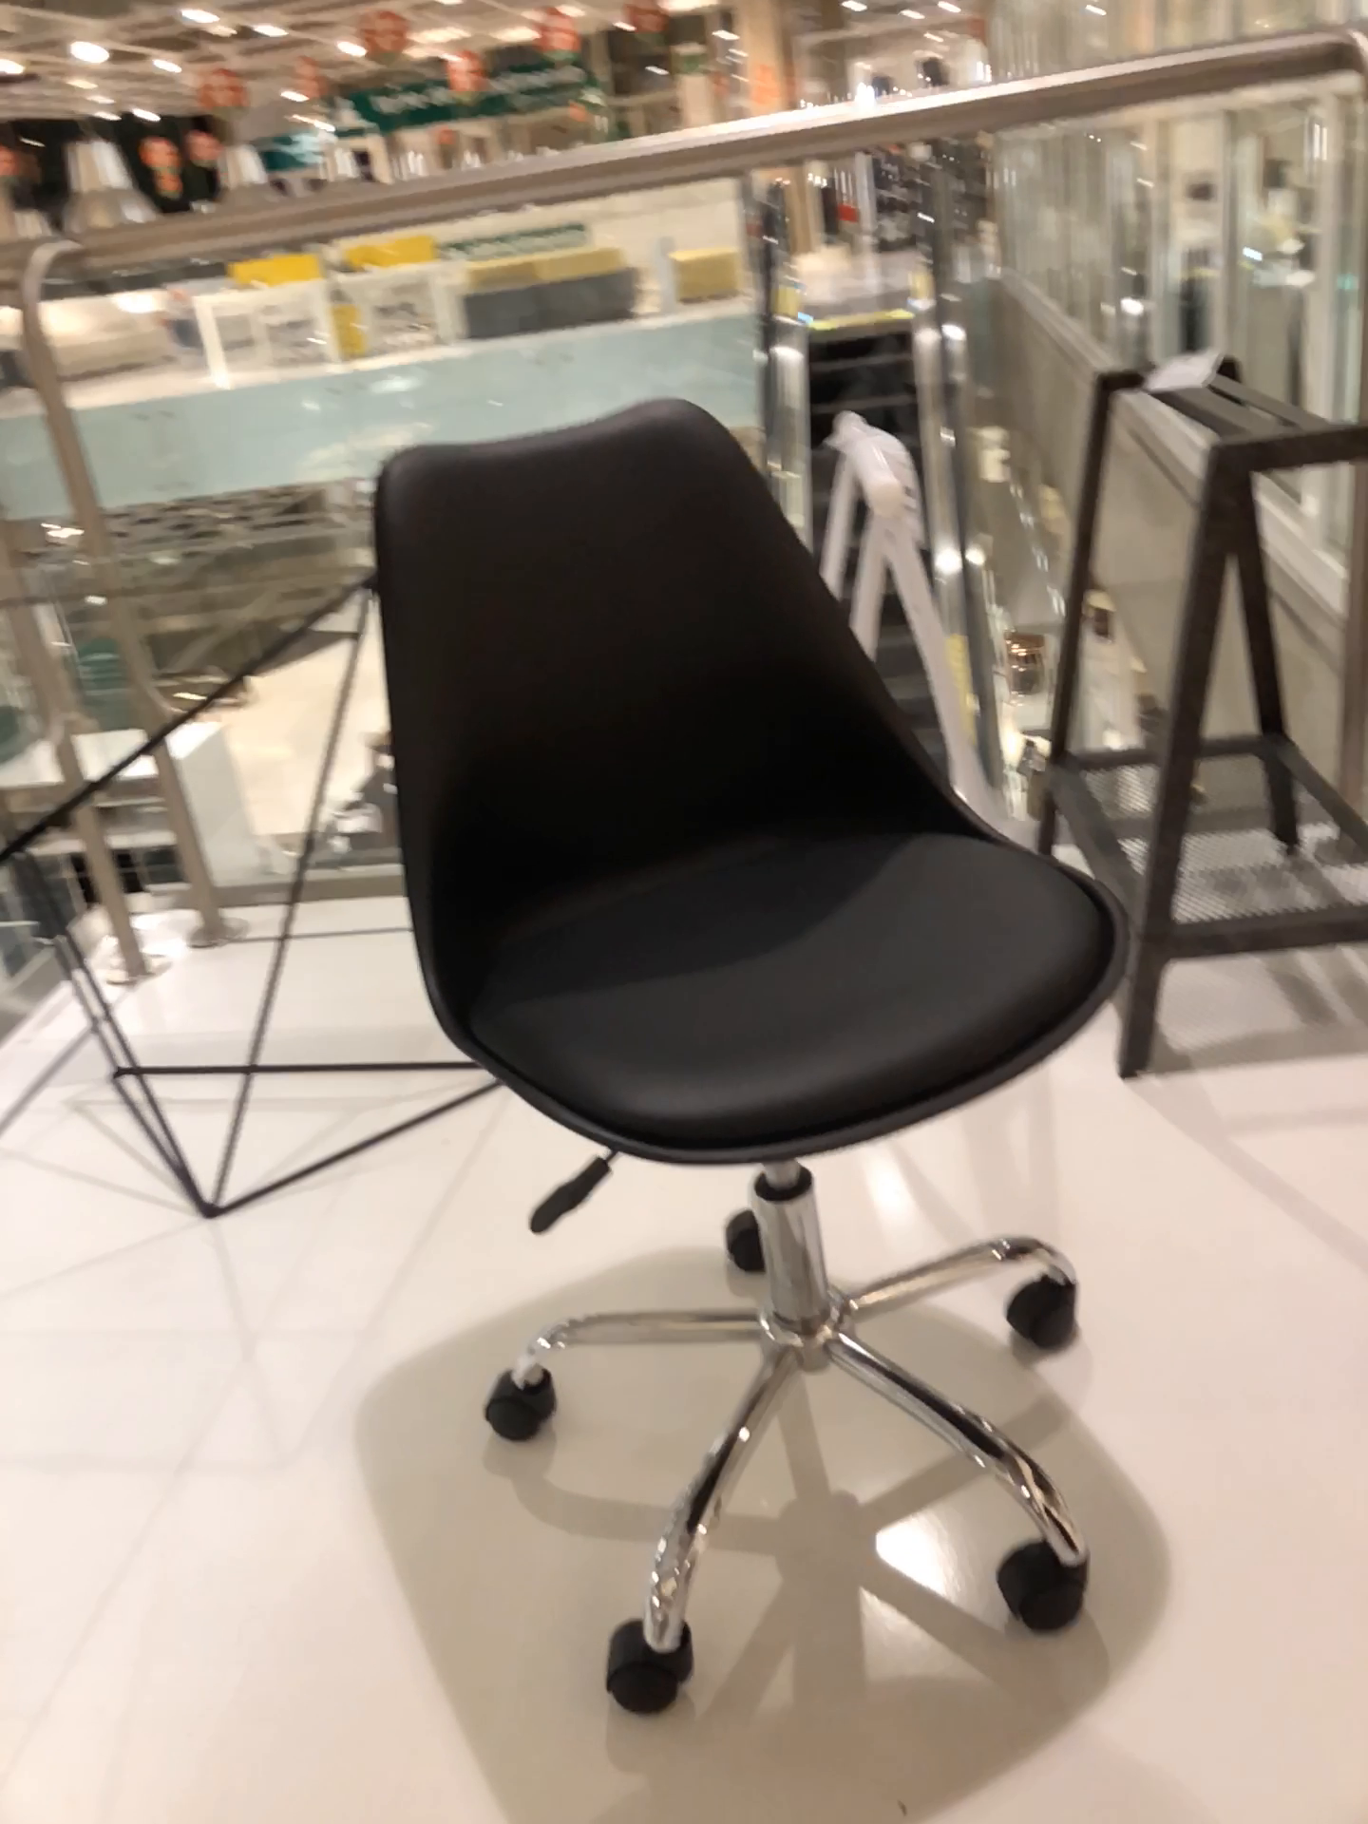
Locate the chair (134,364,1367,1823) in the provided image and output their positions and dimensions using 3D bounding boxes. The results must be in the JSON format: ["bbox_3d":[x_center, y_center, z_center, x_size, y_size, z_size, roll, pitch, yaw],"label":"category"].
[{"bbox_3d":[0.056,0.067,1.162,0.631,0.824,0.633,-19,26,-21],"label":"chair"}]
